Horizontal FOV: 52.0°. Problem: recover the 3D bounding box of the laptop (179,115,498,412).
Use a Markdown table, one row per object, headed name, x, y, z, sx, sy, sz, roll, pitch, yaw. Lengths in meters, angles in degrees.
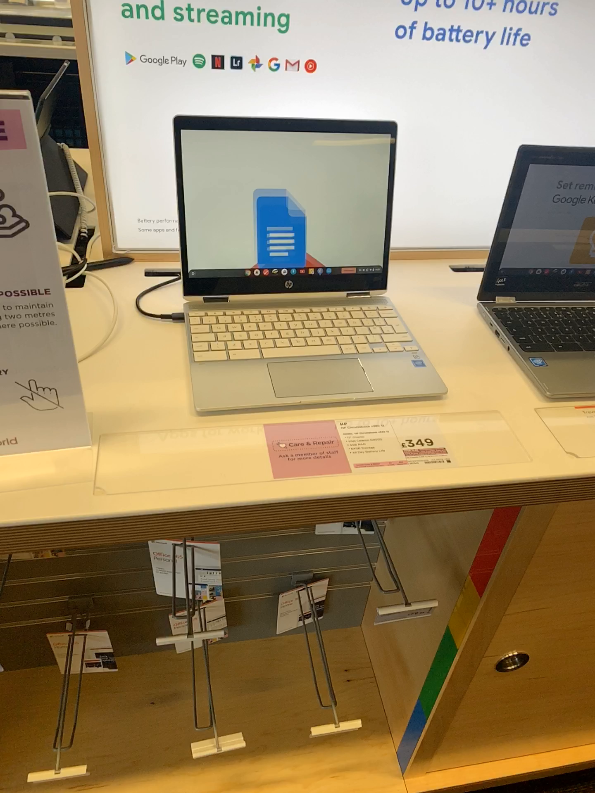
| name | x | y | z | sx | sy | sz | roll | pitch | yaw |
| --- | --- | --- | --- | --- | --- | --- | --- | --- | --- |
| laptop | 0.013 | -0.157 | 0.657 | 0.258 | 0.190 | 0.271 | -4 | 40 | -11 |
